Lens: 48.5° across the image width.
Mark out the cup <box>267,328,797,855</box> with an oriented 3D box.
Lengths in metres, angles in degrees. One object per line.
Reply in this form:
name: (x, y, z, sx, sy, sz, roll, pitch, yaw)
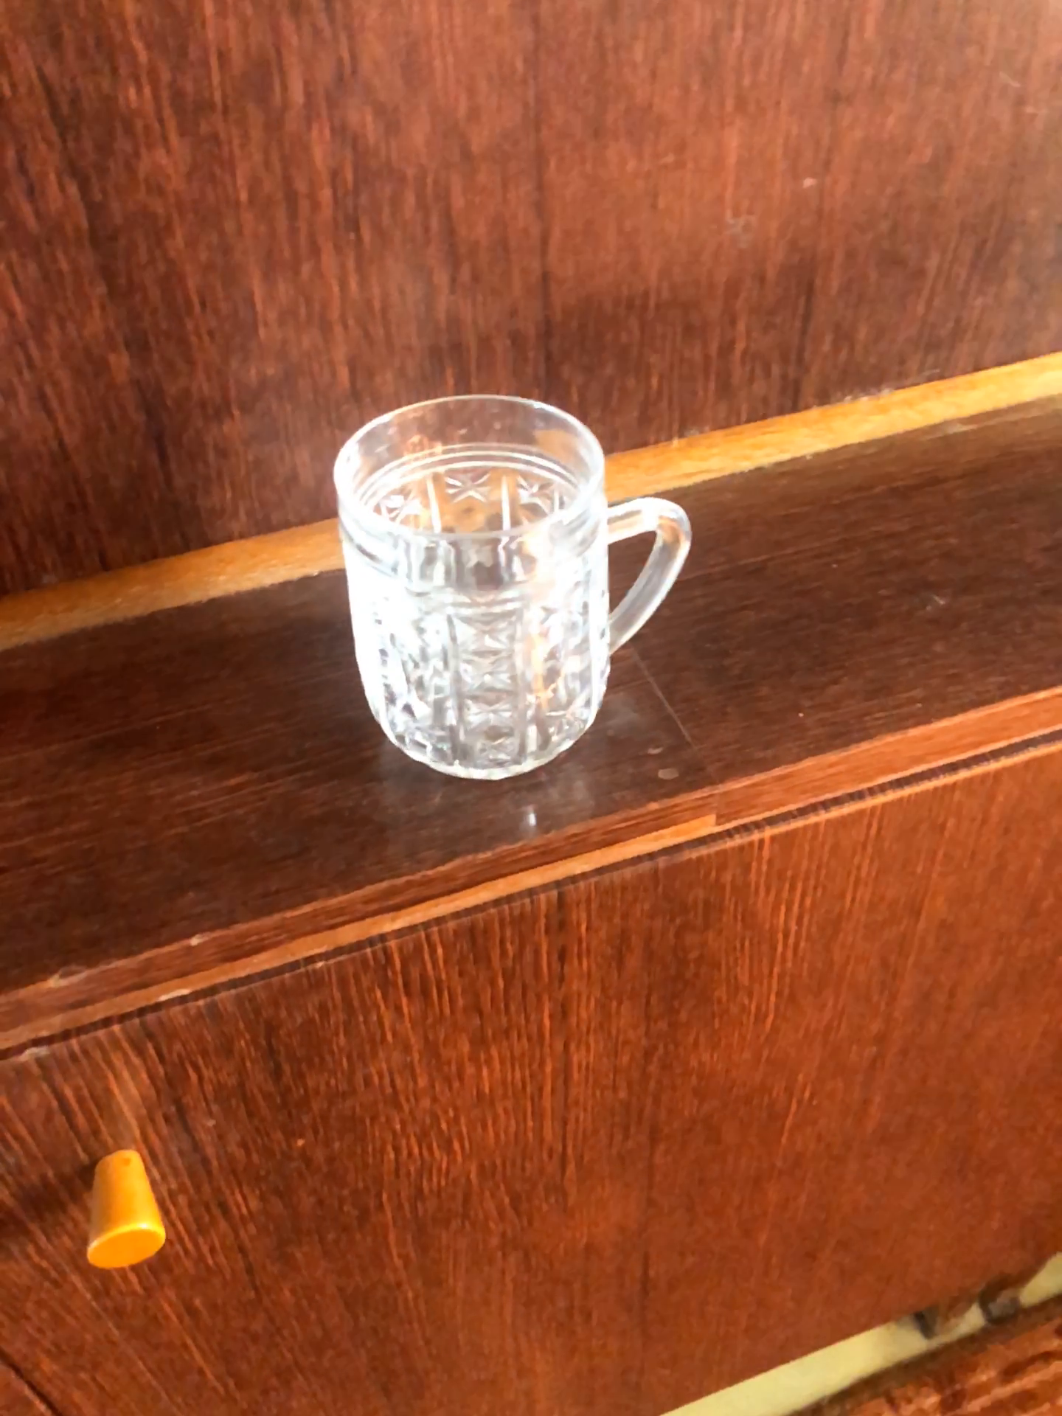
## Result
cup: (0.001, -0.033, 0.298, 0.100, 0.080, 0.070, -24, 47, -22)
